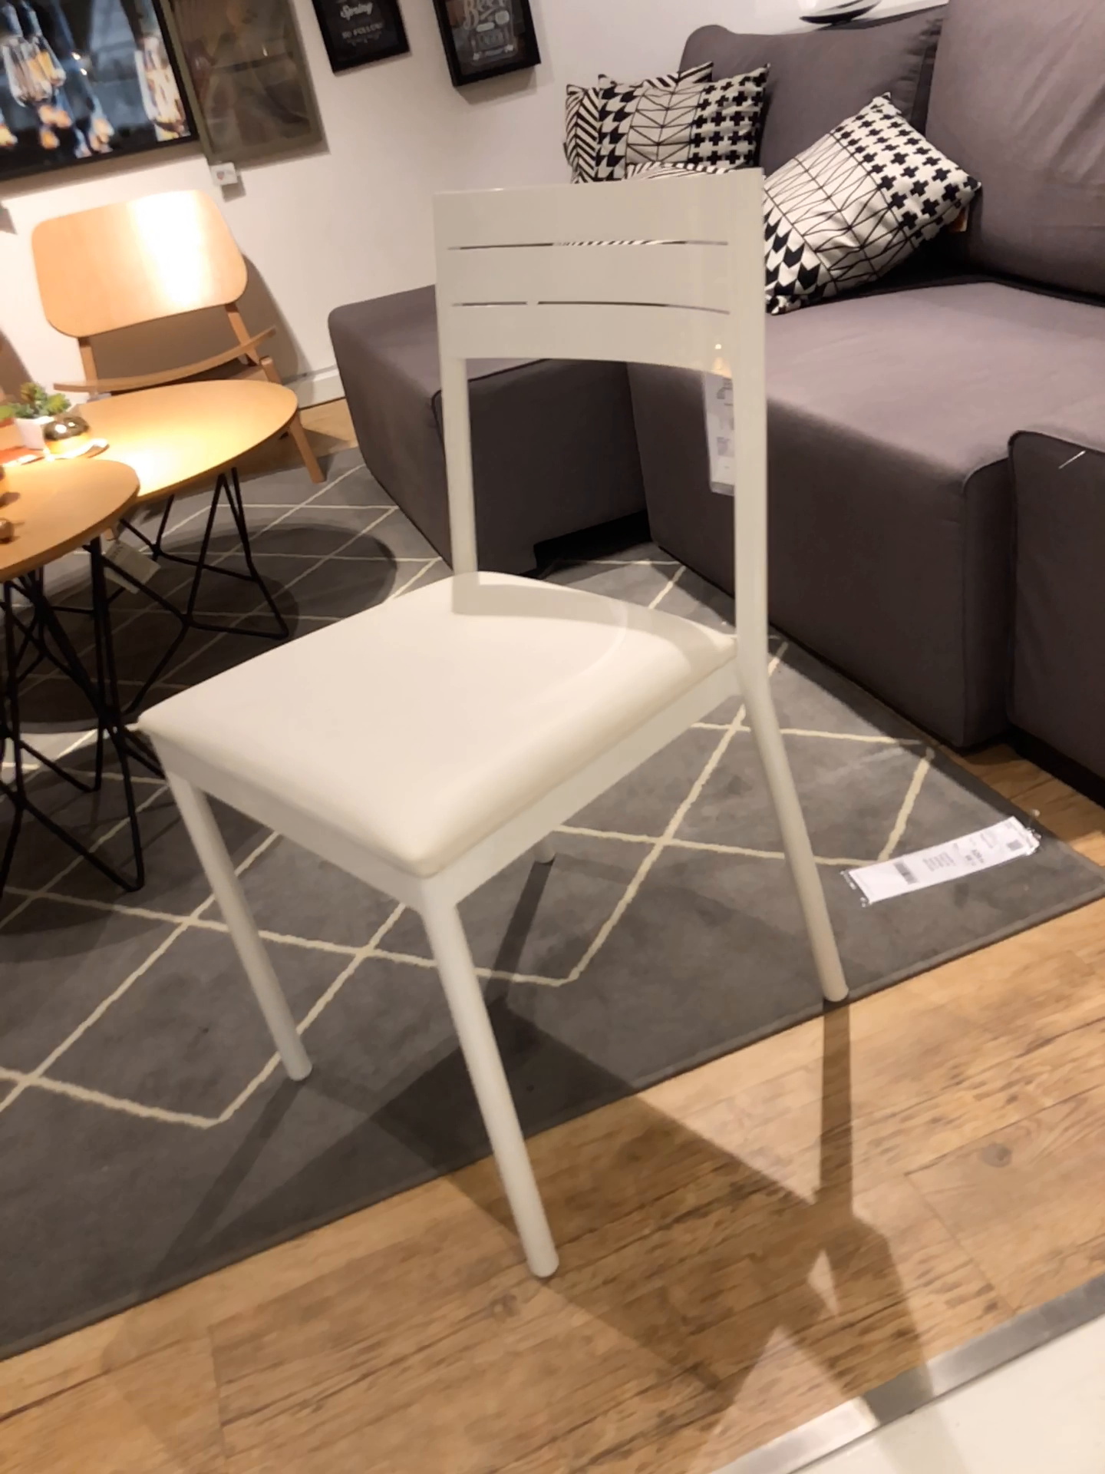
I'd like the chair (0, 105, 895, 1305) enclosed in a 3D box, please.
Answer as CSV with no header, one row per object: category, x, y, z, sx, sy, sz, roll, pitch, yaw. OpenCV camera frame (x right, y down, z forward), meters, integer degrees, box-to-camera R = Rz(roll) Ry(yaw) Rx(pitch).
chair,-0.047,-0.050,1.044,0.452,0.774,0.472,19,42,43
